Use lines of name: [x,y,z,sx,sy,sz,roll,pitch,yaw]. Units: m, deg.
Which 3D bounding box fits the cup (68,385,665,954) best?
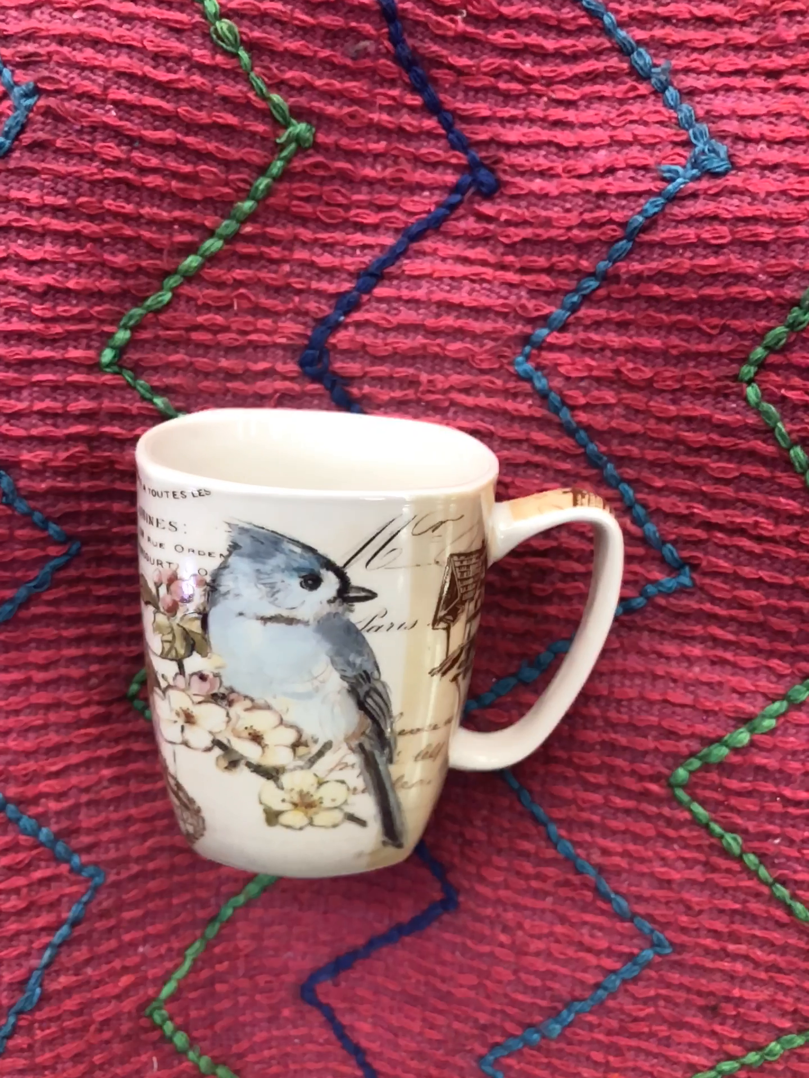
cup: [-0.010,0.024,0.216,0.110,0.070,0.110,-2,108,-7]
